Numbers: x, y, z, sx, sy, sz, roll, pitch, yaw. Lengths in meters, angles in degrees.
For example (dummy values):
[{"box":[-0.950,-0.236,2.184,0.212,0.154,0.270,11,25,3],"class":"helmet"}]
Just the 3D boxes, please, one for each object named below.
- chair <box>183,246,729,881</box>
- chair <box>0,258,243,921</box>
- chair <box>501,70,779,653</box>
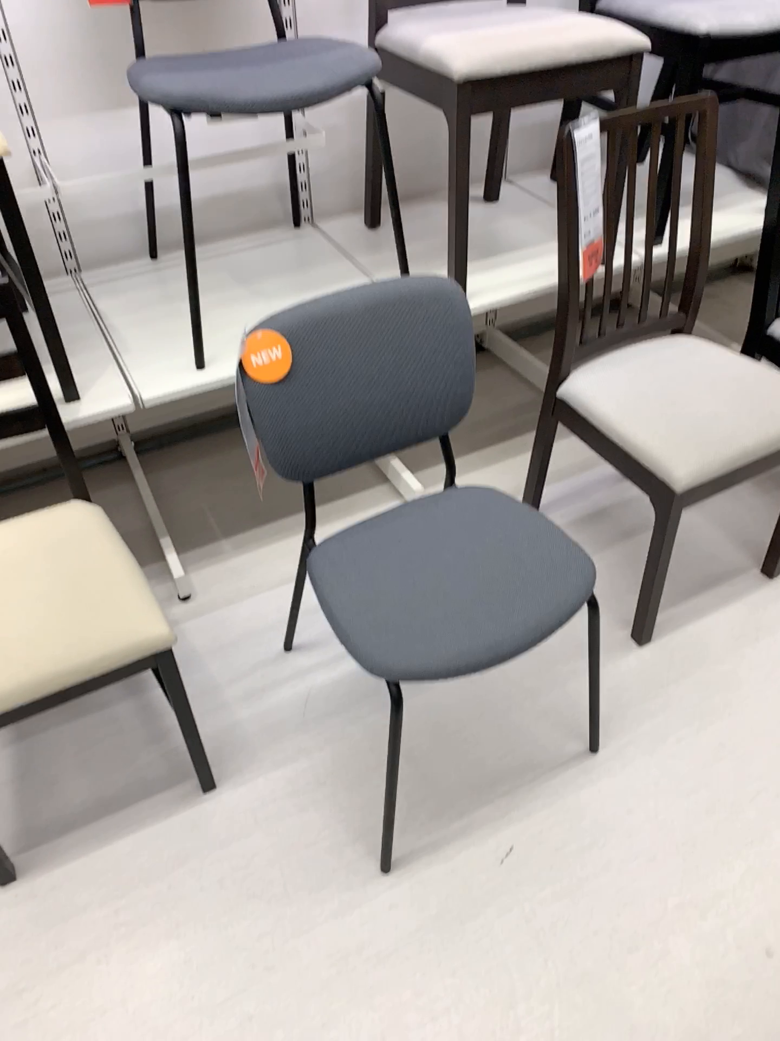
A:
[{"box":[0.066,0.062,1.359,0.520,0.756,0.592,-22,46,-20],"class":"chair"},{"box":[-0.616,0.118,1.278,0.480,0.806,0.532,-21,46,-20],"class":"chair"},{"box":[0.609,-0.301,1.606,0.480,0.926,0.532,-22,46,-20],"class":"chair"}]
